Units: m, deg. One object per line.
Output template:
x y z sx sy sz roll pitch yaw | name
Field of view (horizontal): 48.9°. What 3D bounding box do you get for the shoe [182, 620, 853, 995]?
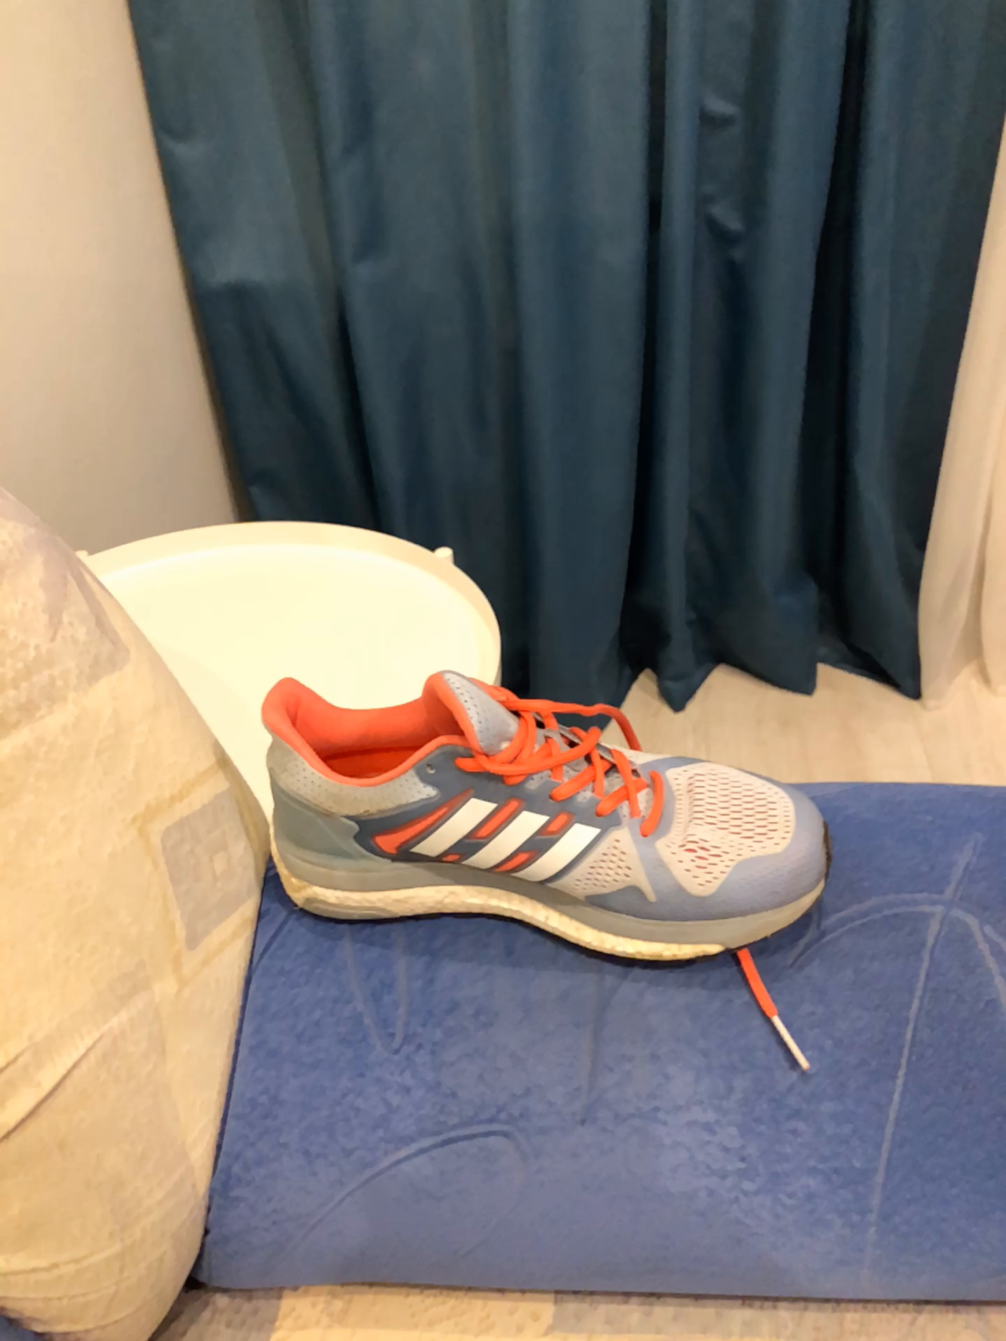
0.012 0.057 0.512 0.270 0.109 0.108 3 35 11 | shoe
